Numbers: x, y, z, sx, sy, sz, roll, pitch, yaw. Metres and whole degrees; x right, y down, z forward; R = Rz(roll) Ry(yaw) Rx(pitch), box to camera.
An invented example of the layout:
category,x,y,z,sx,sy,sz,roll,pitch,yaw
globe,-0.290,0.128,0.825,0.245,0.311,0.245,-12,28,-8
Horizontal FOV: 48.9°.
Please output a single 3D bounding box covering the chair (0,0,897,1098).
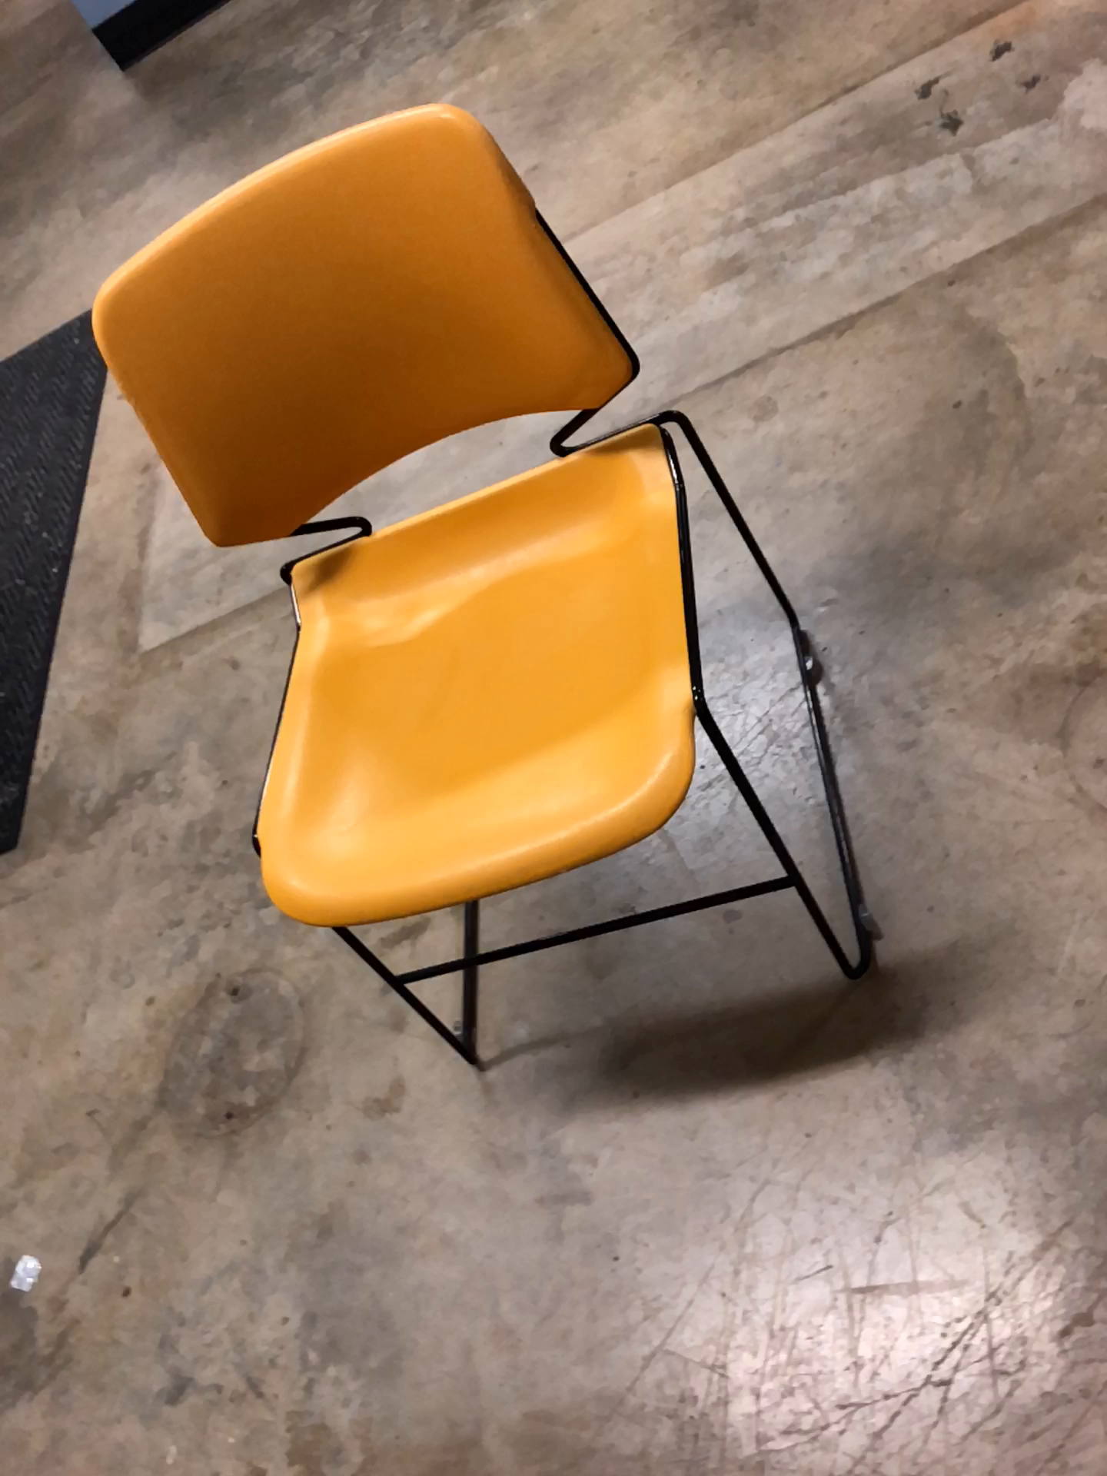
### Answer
category,x,y,z,sx,sy,sz,roll,pitch,yaw
chair,-0.093,-0.108,1.214,0.578,0.735,0.618,-18,50,21
